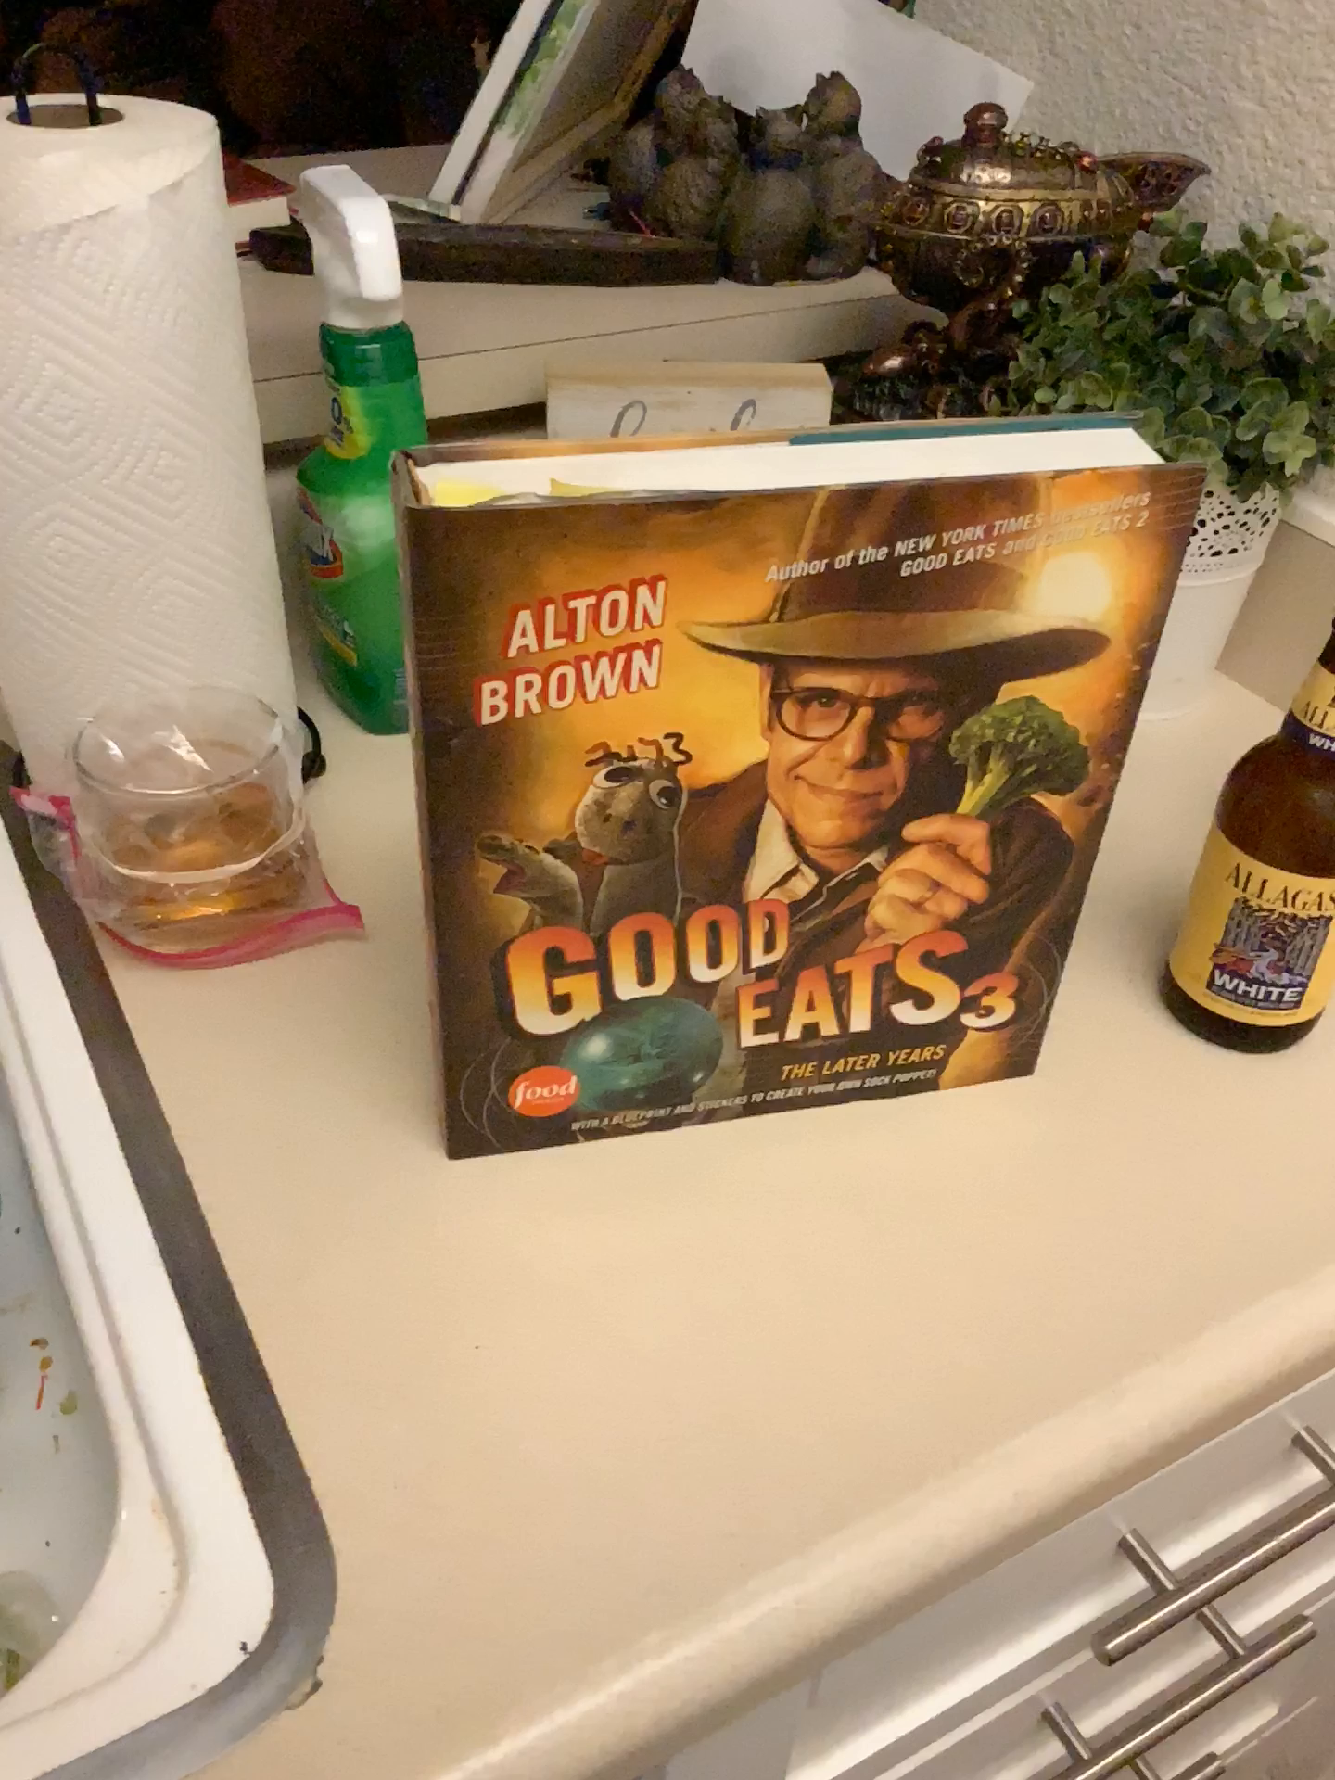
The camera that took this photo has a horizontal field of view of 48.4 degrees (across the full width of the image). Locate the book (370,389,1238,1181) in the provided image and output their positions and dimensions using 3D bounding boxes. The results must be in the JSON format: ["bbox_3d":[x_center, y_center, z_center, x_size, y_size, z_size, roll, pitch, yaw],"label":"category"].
[{"bbox_3d":[0.036,-0.027,0.492,0.240,0.250,0.050,-7,38,-13],"label":"book"}]
